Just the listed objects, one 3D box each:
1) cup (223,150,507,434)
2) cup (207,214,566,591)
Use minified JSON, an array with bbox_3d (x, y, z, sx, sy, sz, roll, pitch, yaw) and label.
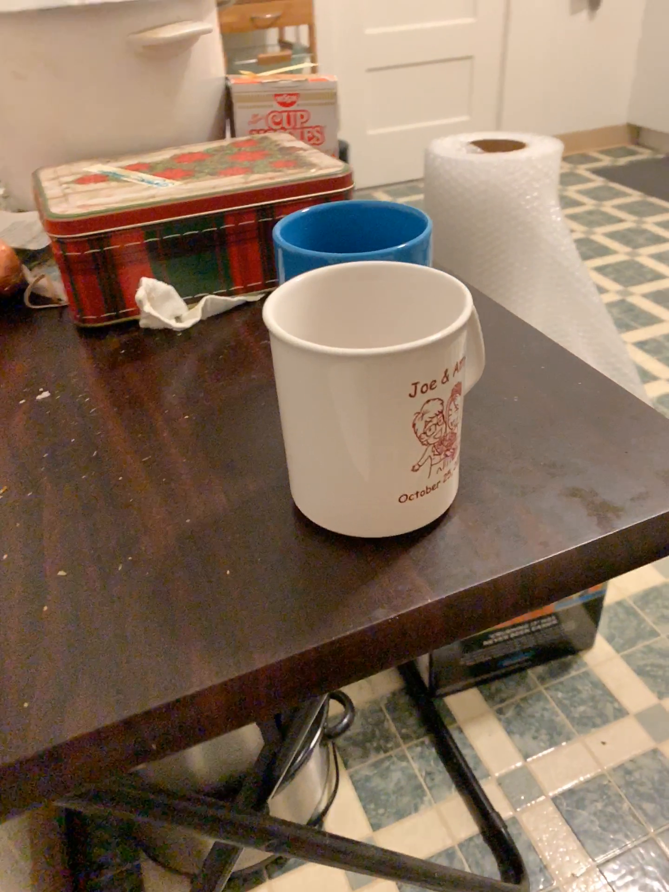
[{"bbox_3d":[0.024,-0.096,0.395,0.090,0.099,0.140,20,42,29],"label":"cup"},{"bbox_3d":[0.029,-0.029,0.310,0.090,0.099,0.130,21,43,30],"label":"cup"}]
